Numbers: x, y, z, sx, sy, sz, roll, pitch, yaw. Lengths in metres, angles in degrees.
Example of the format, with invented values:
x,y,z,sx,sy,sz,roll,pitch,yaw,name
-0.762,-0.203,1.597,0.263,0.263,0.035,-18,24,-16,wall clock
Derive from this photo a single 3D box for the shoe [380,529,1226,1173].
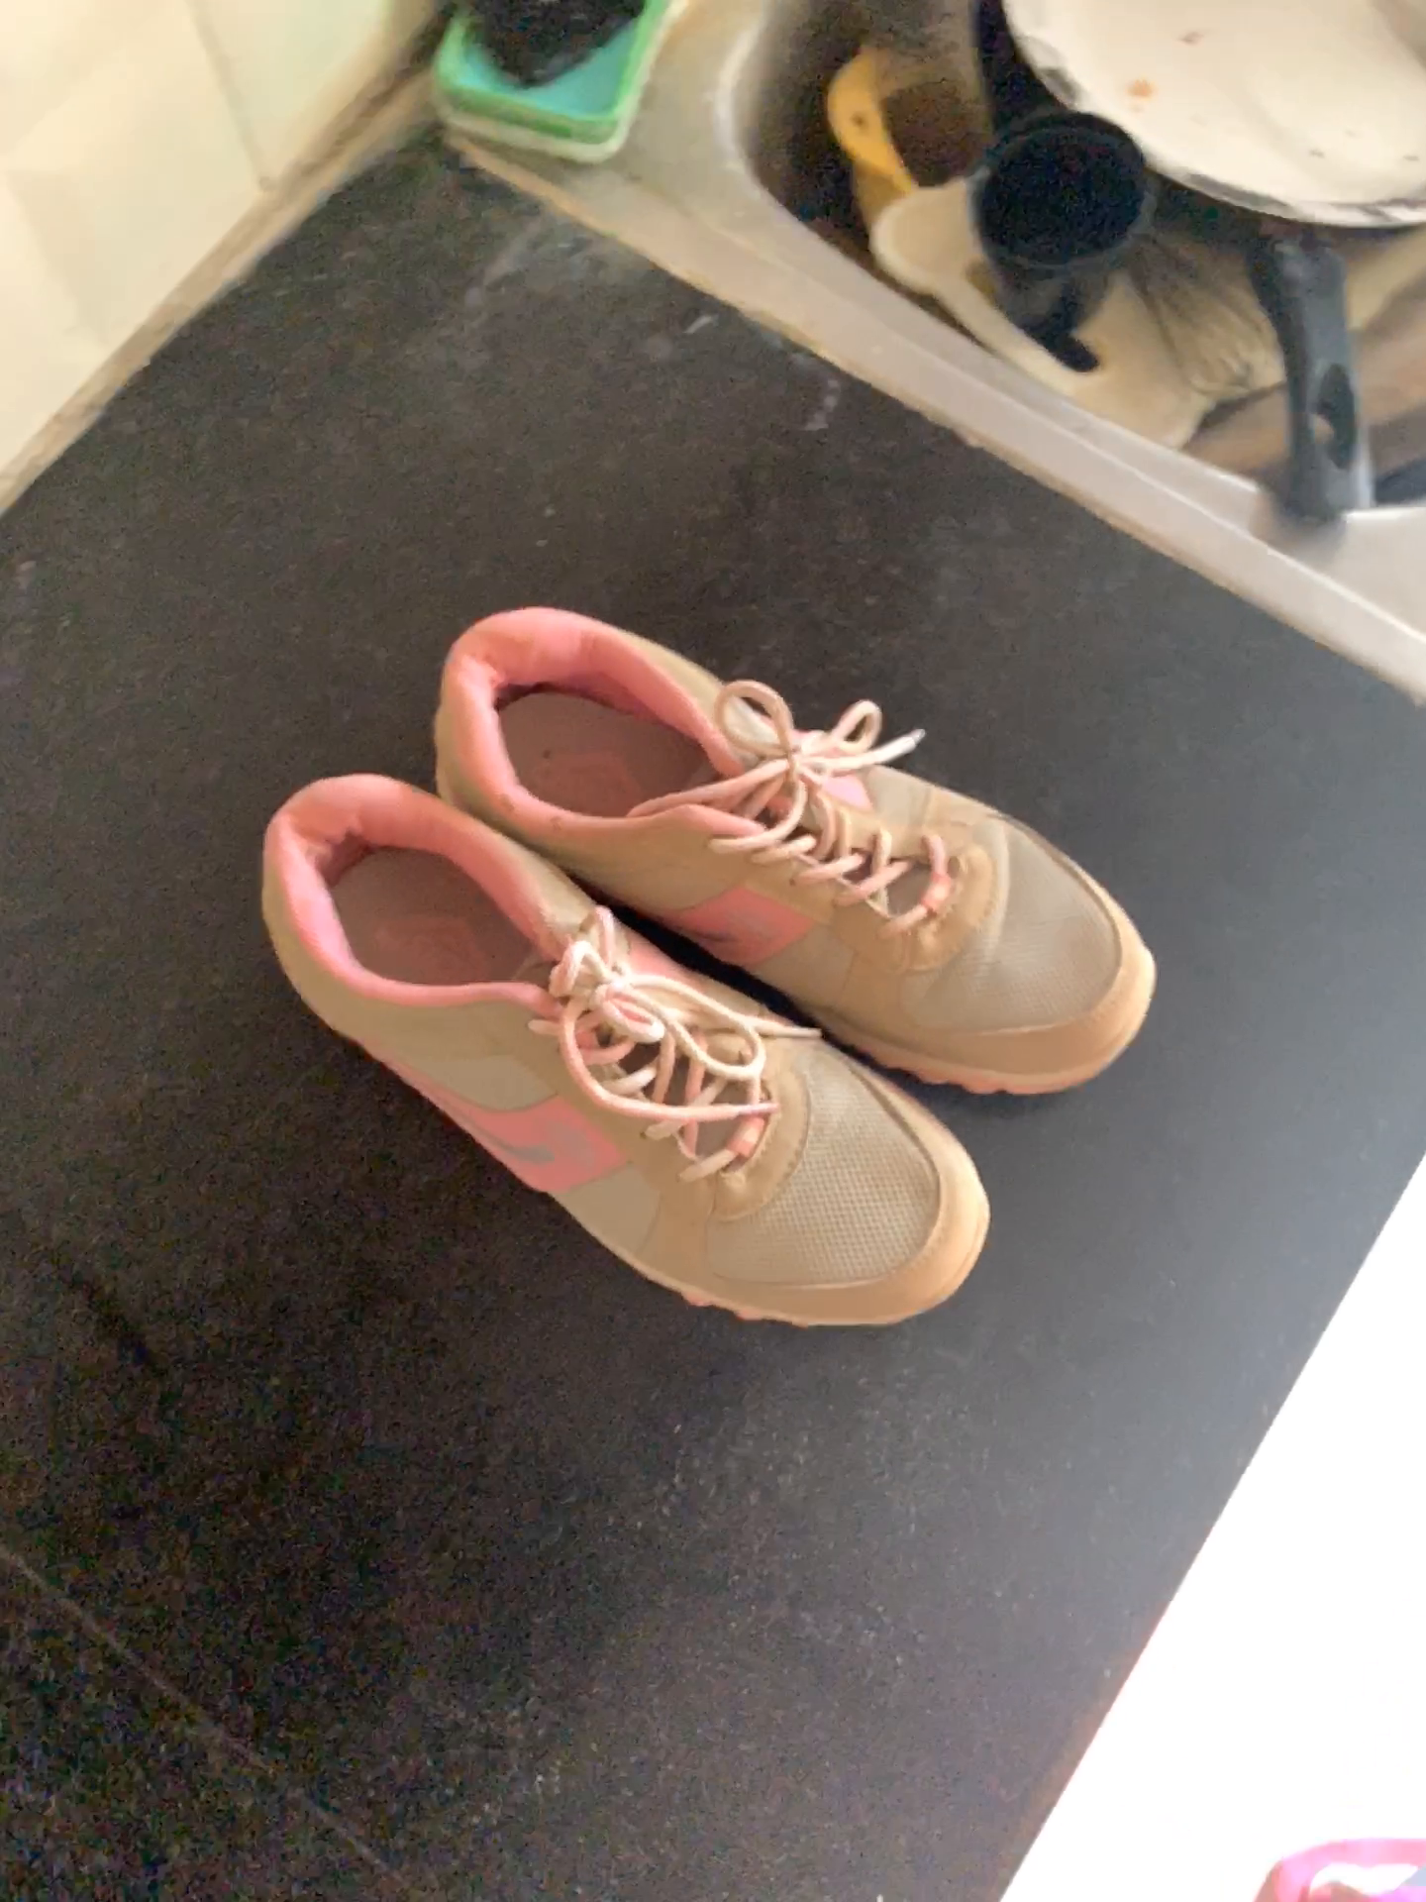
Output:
x,y,z,sx,sy,sz,roll,pitch,yaw,name
0.025,-0.028,0.476,0.230,0.100,0.090,26,76,8,shoe

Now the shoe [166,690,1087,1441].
x,y,z,sx,sy,sz,roll,pitch,yaw,name
-0.026,0.038,0.456,0.240,0.100,0.100,31,77,9,shoe
